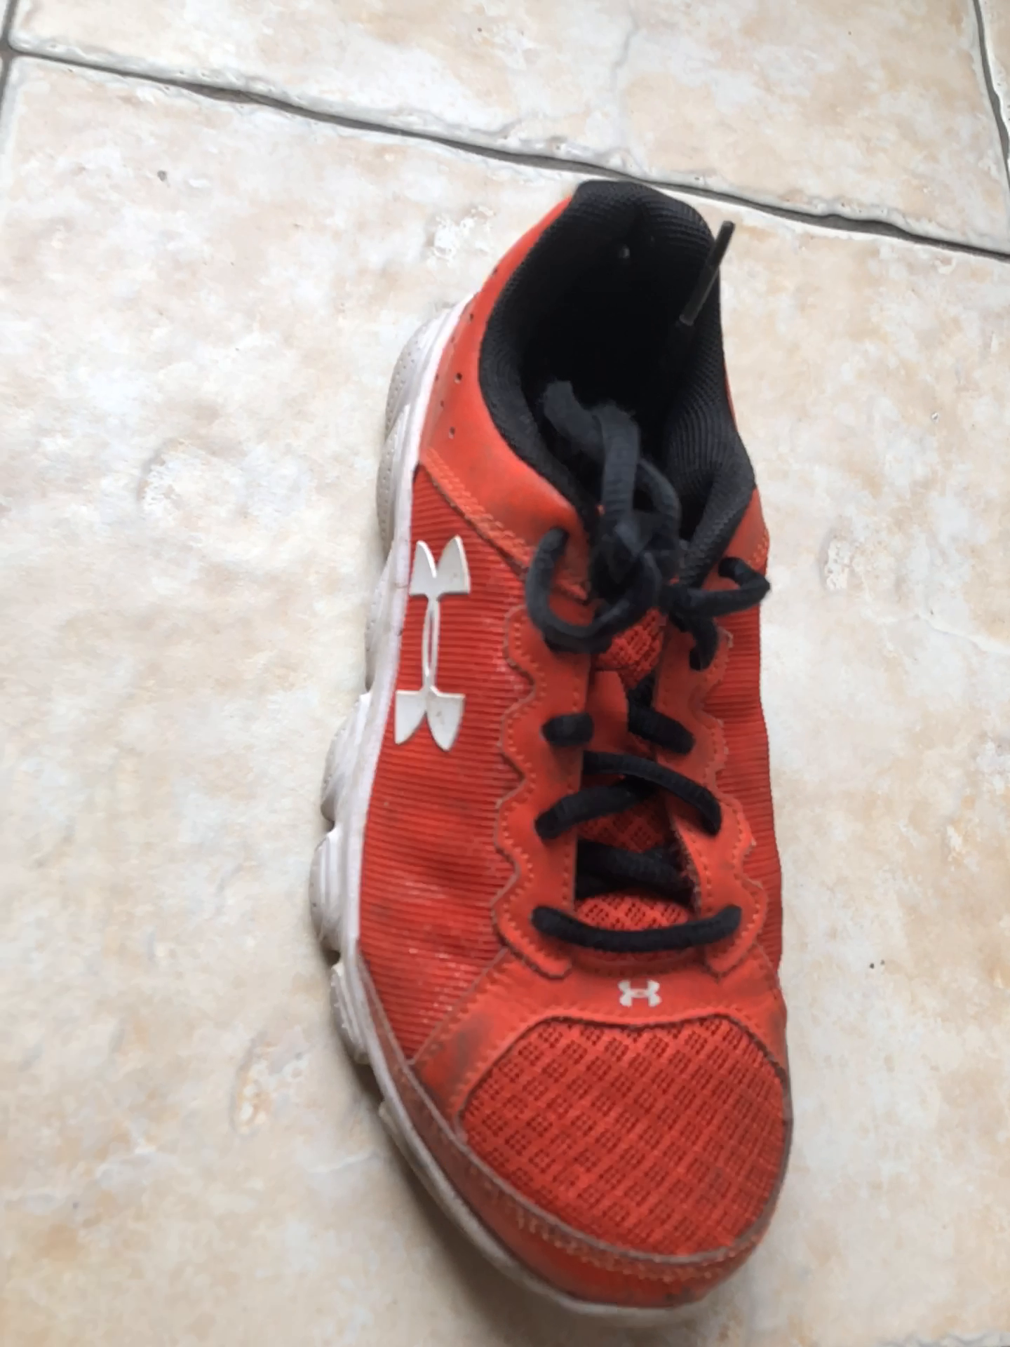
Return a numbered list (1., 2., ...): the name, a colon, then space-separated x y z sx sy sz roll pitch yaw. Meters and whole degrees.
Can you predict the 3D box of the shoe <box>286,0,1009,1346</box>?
1. shoe: 0.017 0.001 0.210 0.100 0.100 0.240 3 71 -13
